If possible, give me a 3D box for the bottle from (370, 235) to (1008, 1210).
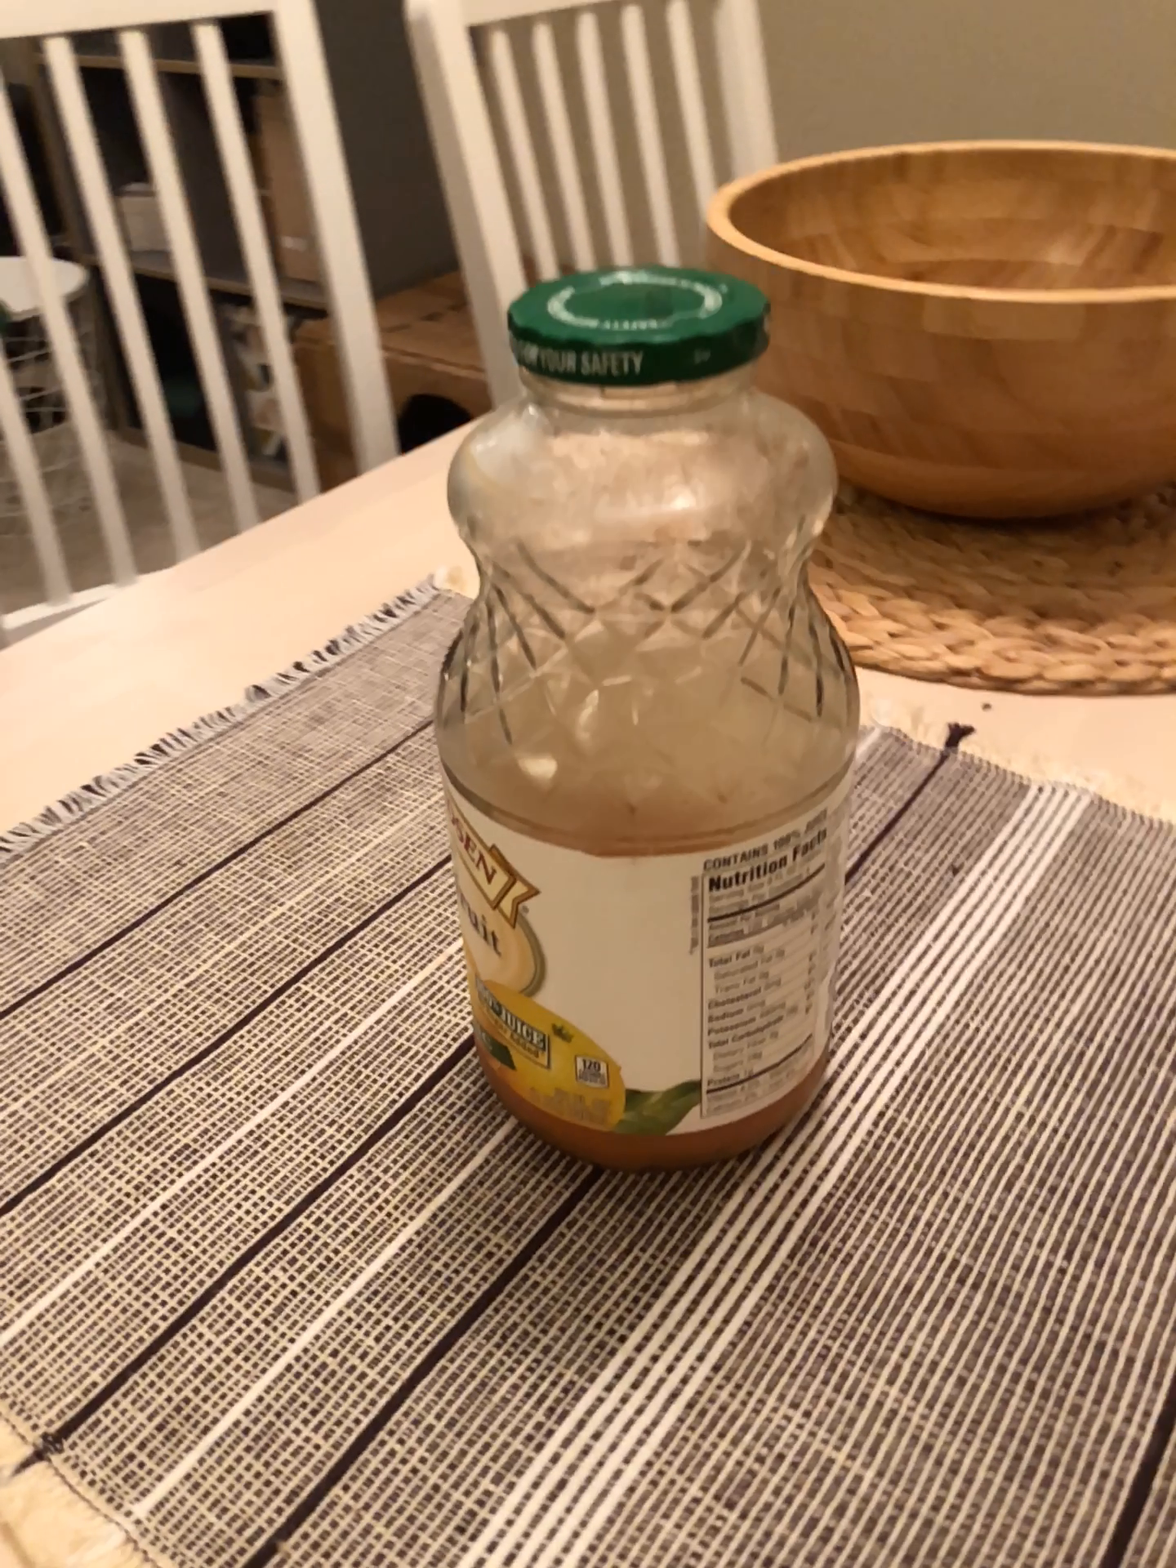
[{"bbox_3d":[0.014,-0.011,0.298,0.100,0.189,0.101,-2,35,1],"label":"bottle"}]
